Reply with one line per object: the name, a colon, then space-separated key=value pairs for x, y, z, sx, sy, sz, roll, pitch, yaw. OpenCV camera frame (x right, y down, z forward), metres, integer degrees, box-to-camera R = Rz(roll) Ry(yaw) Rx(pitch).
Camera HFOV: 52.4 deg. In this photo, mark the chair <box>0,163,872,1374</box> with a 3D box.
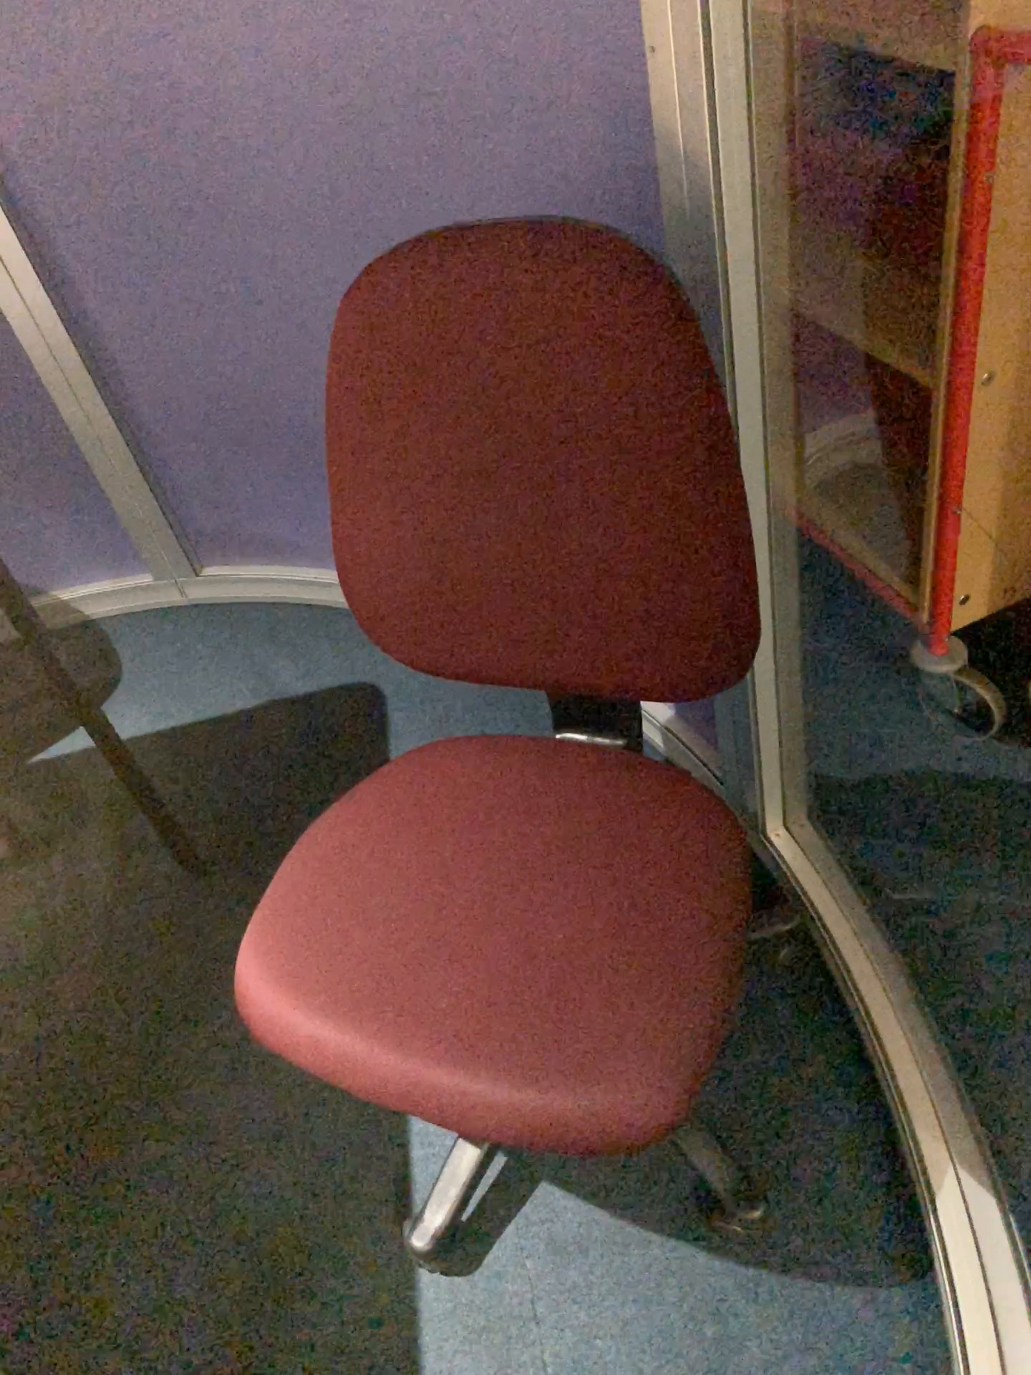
chair: x=0.013 y=0.046 z=1.095 sx=0.581 sy=0.772 sz=0.857 roll=5 pitch=46 yaw=22
